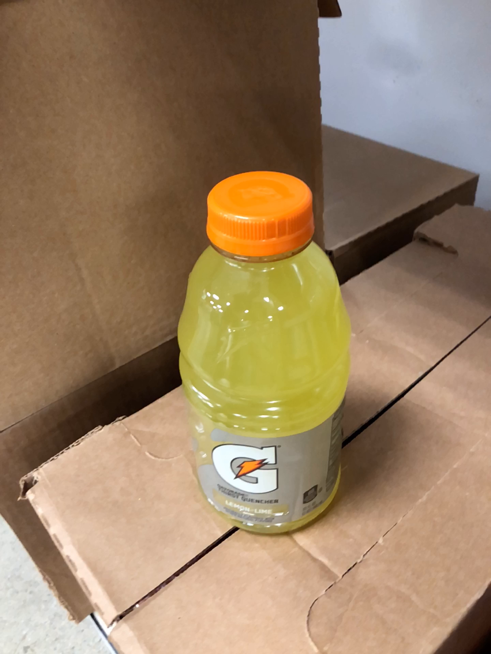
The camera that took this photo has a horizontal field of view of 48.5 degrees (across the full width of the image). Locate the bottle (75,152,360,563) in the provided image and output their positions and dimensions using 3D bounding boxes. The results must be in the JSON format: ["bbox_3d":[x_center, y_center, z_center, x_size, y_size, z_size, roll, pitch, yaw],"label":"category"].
[{"bbox_3d":[0.002,0.024,0.304,0.100,0.209,0.090,8,41,18],"label":"bottle"}]
